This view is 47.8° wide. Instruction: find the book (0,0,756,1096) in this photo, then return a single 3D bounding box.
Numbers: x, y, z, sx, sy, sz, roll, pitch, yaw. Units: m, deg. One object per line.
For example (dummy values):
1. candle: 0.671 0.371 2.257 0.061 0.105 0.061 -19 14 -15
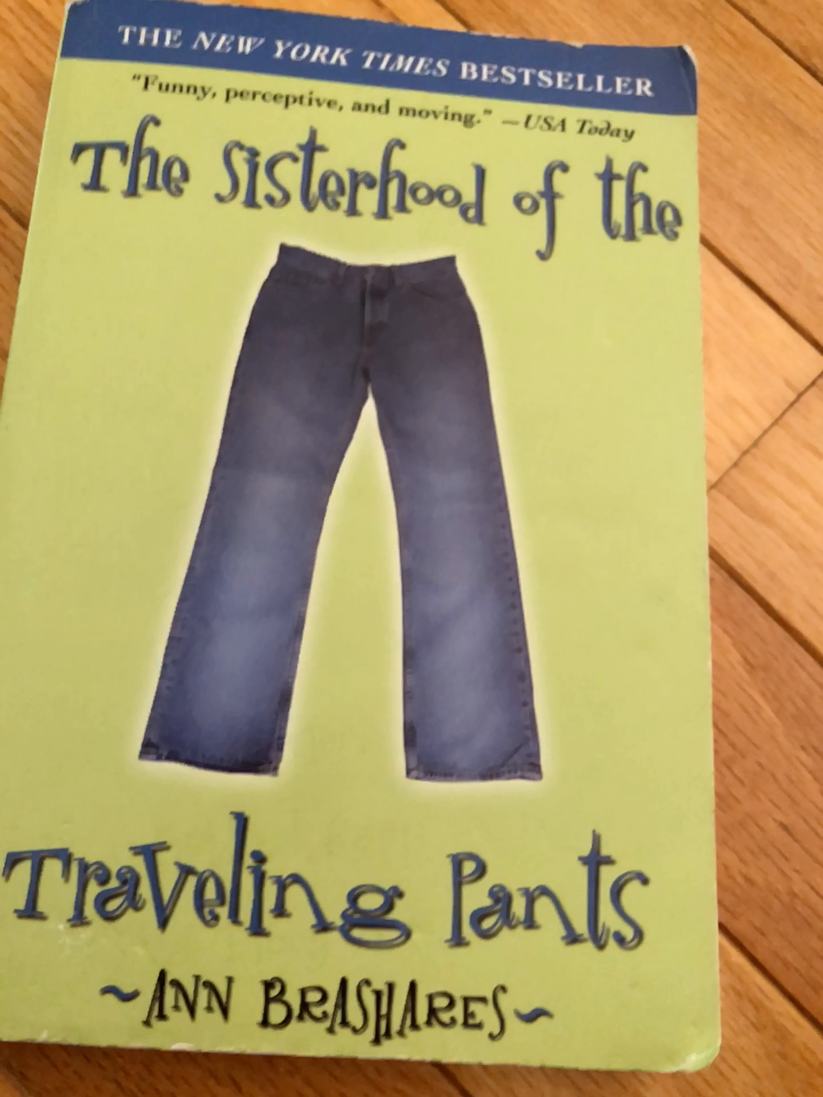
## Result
1. book: -0.009 -0.012 0.187 0.141 0.025 0.209 4 75 -4
